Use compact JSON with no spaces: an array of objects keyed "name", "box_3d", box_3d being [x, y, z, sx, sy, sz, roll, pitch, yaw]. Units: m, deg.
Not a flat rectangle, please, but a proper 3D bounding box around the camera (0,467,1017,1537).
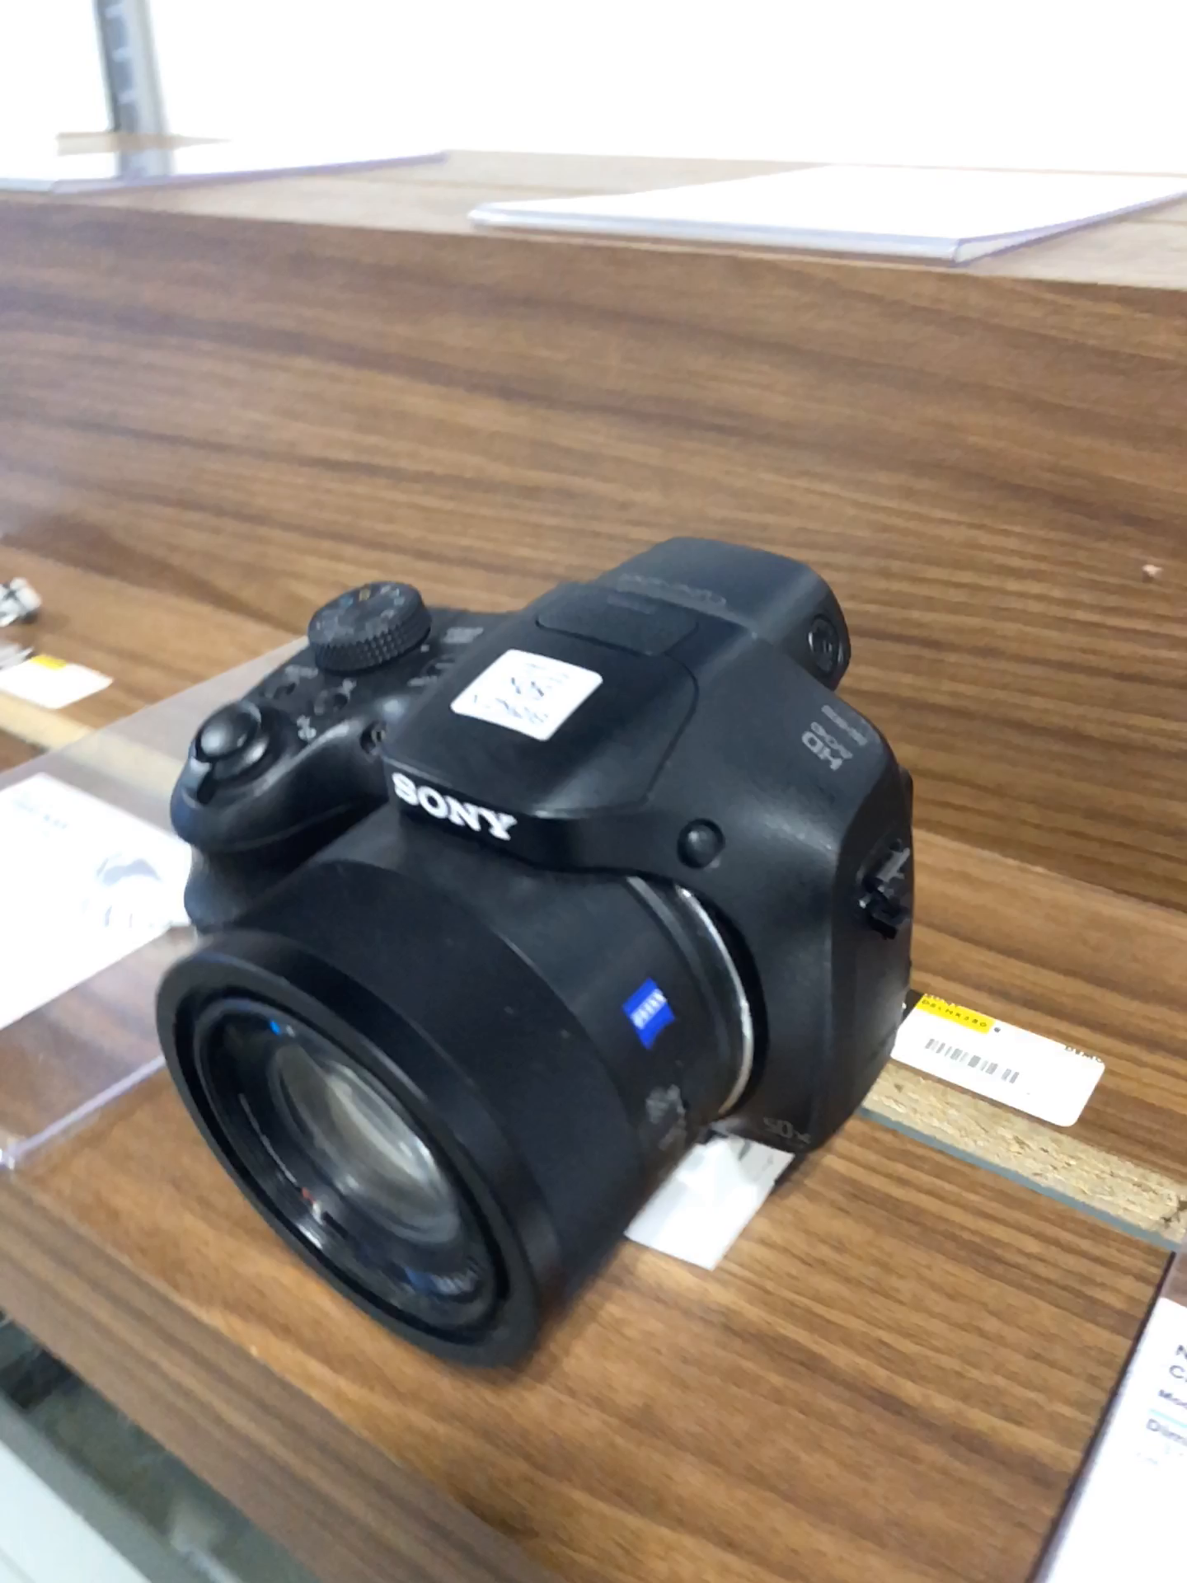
[{"name":"camera","box_3d":[-0.017,0.017,0.228,0.130,0.089,0.121,18,41,31]}]
